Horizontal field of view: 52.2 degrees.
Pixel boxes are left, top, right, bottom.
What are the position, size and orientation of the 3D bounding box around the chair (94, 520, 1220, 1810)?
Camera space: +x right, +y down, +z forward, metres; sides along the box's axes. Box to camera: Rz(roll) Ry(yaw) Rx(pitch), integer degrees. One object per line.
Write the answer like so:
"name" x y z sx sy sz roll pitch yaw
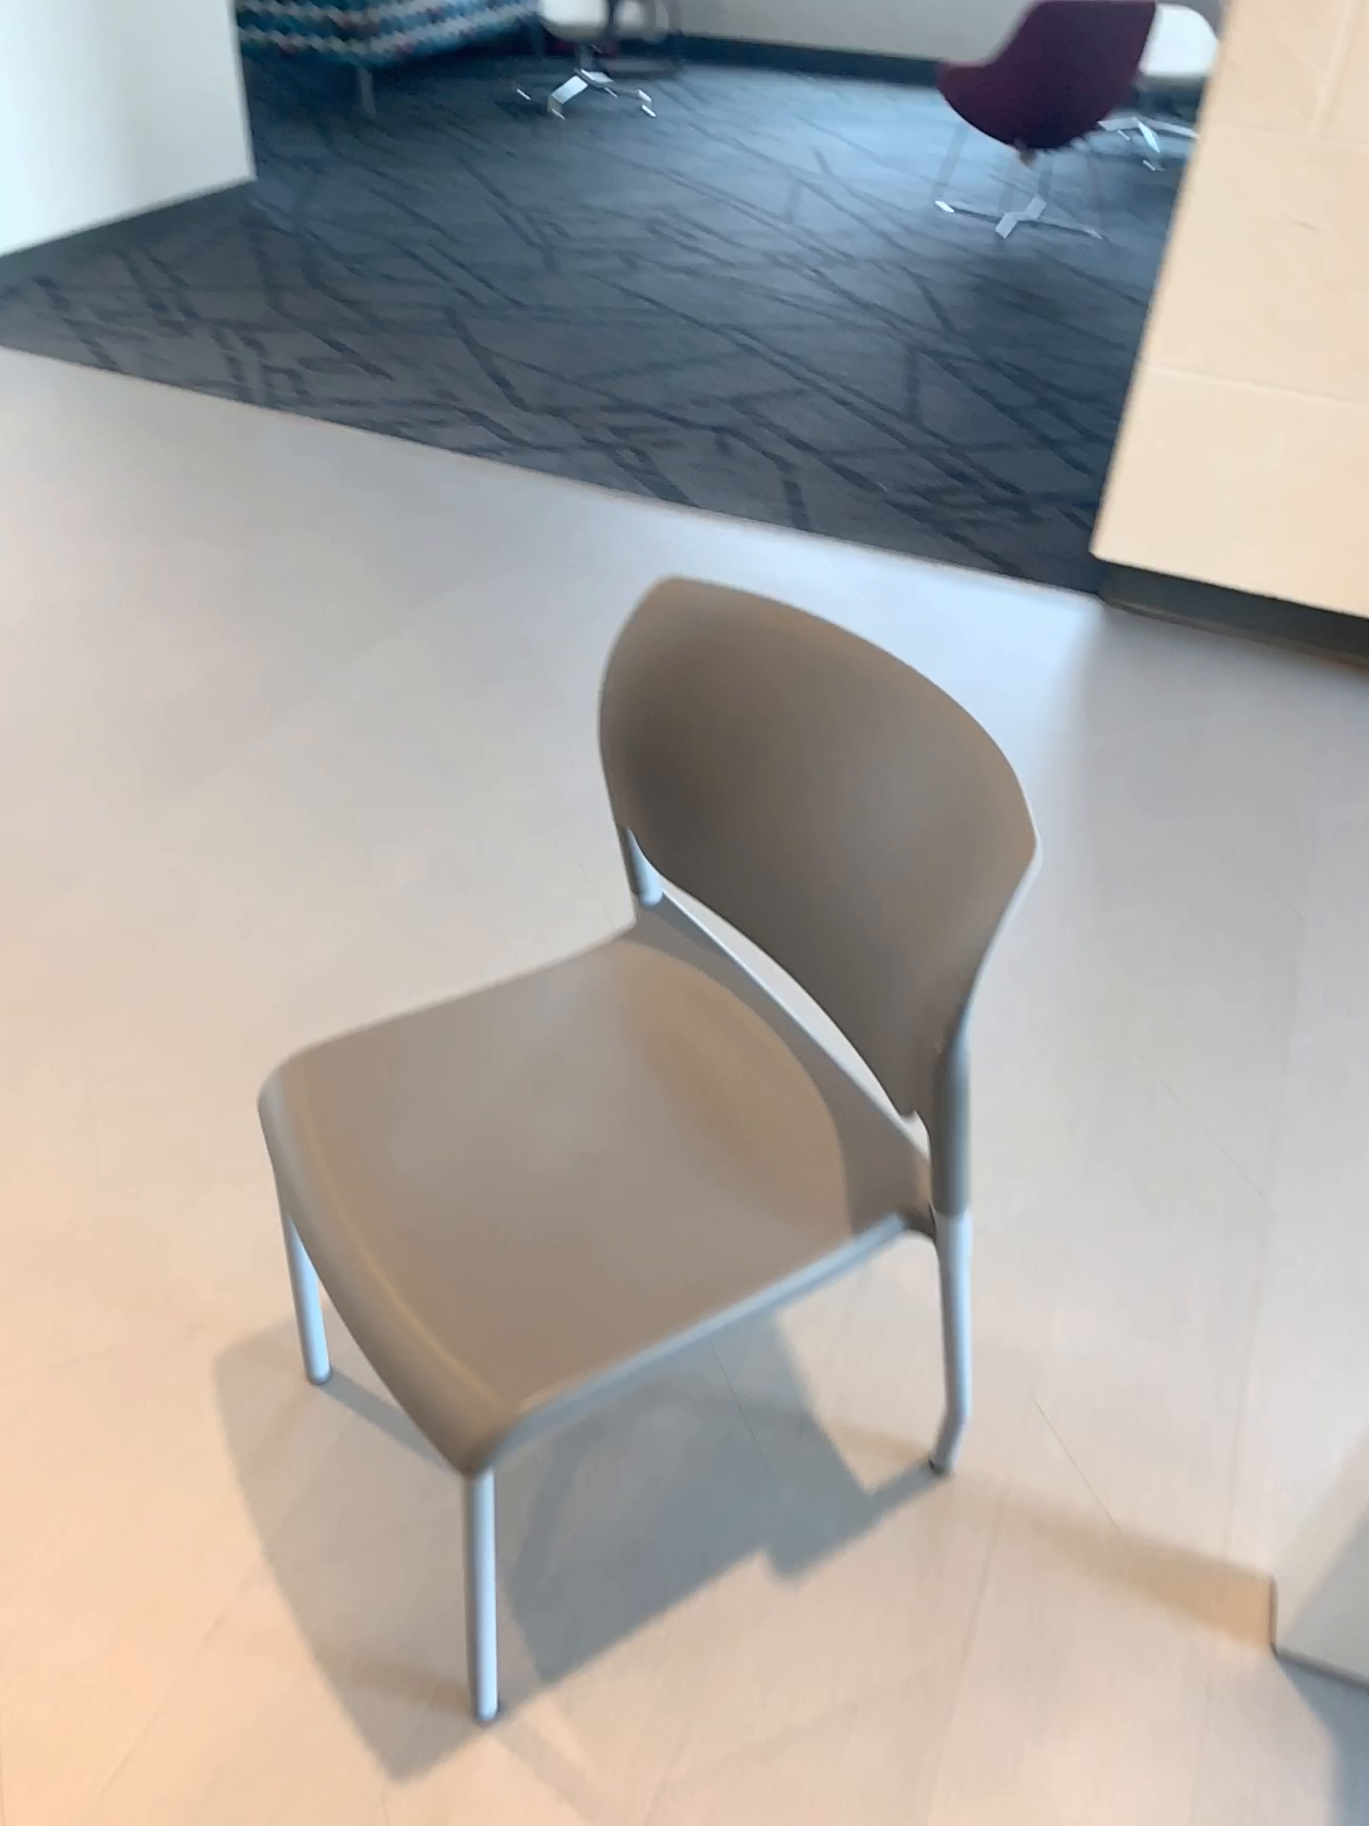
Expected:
"chair" -0.048 0.191 1.176 0.572 0.783 0.503 -21 45 -28
